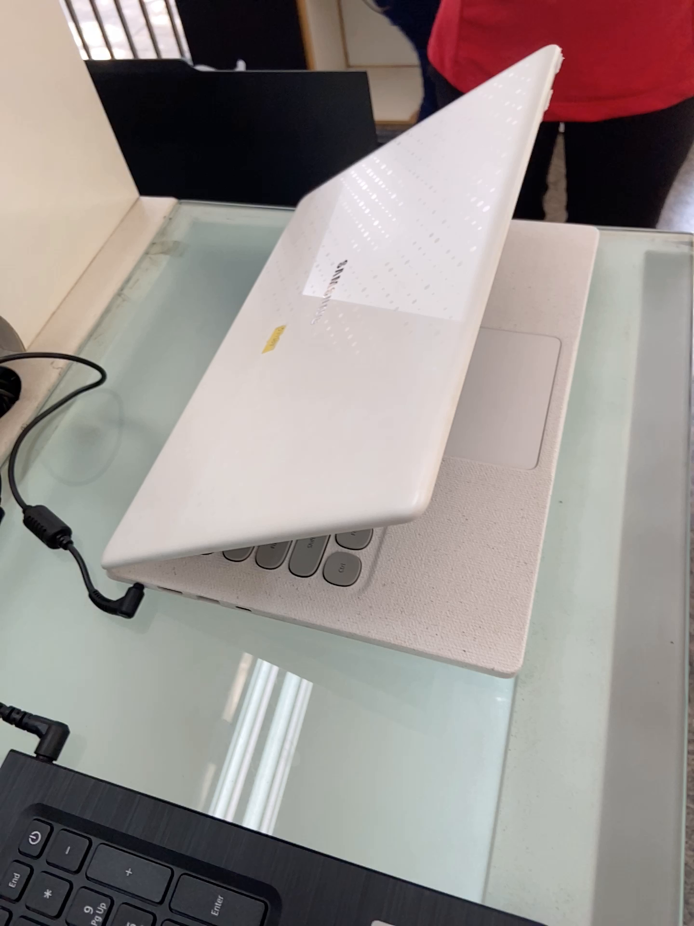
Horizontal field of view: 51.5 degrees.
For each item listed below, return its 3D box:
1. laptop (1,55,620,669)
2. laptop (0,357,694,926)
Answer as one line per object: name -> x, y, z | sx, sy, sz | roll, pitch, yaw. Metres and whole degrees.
laptop -> 0.014, -0.083, 0.383 | 0.206, 0.108, 0.313 | 10, 56, 16
laptop -> -0.175, 0.226, 0.111 | 0.373, 0.213, 0.402 | 10, 56, 17
